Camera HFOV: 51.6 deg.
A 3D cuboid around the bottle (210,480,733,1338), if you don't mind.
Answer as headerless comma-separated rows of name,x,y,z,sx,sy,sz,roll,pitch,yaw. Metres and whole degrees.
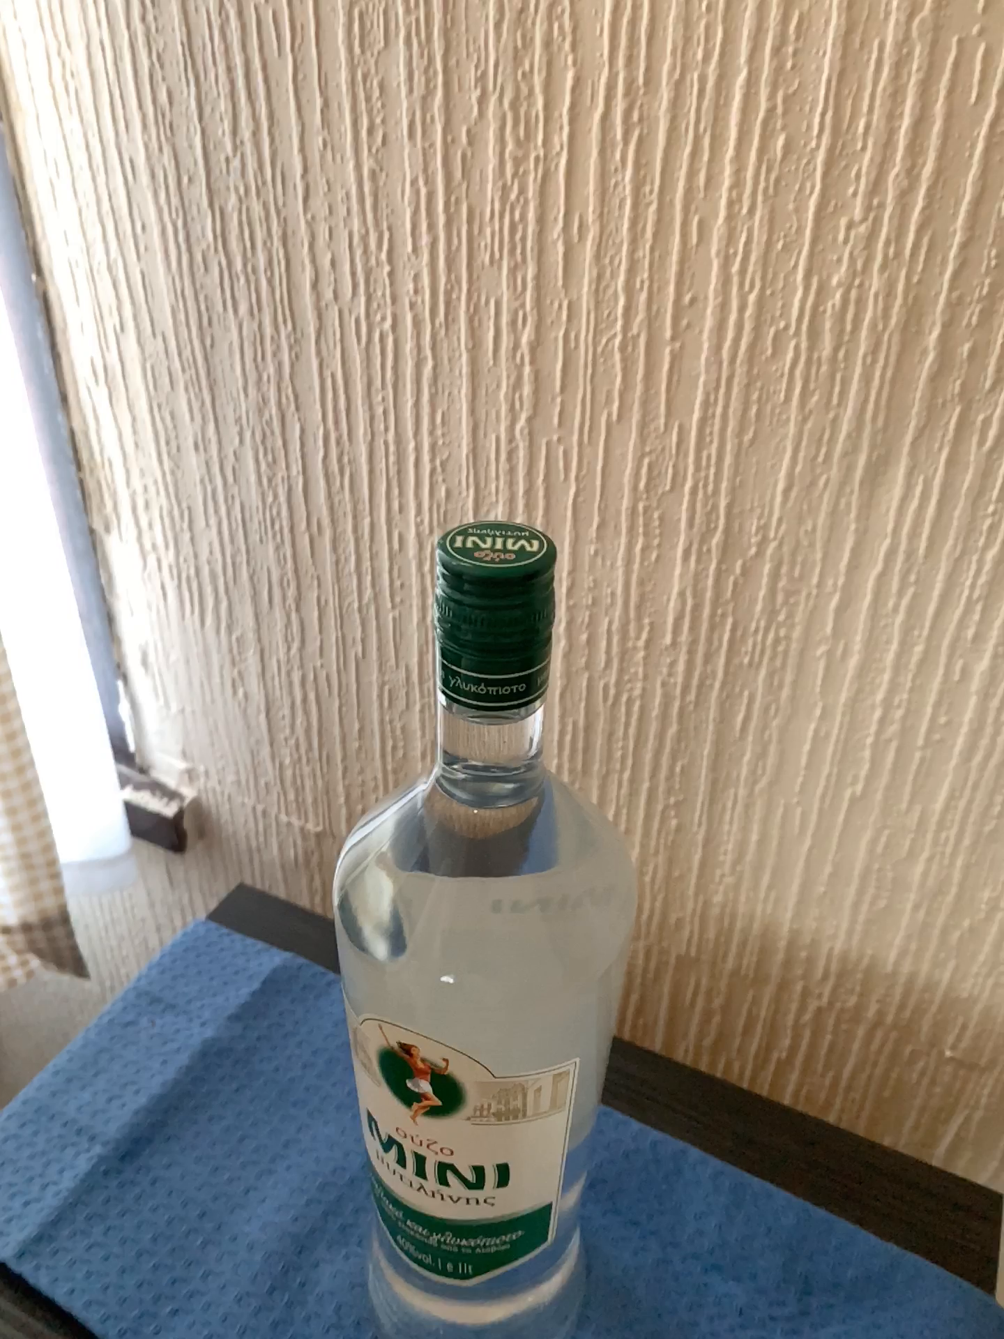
bottle,-0.008,0.114,0.310,0.090,0.317,0.071,17,36,23
